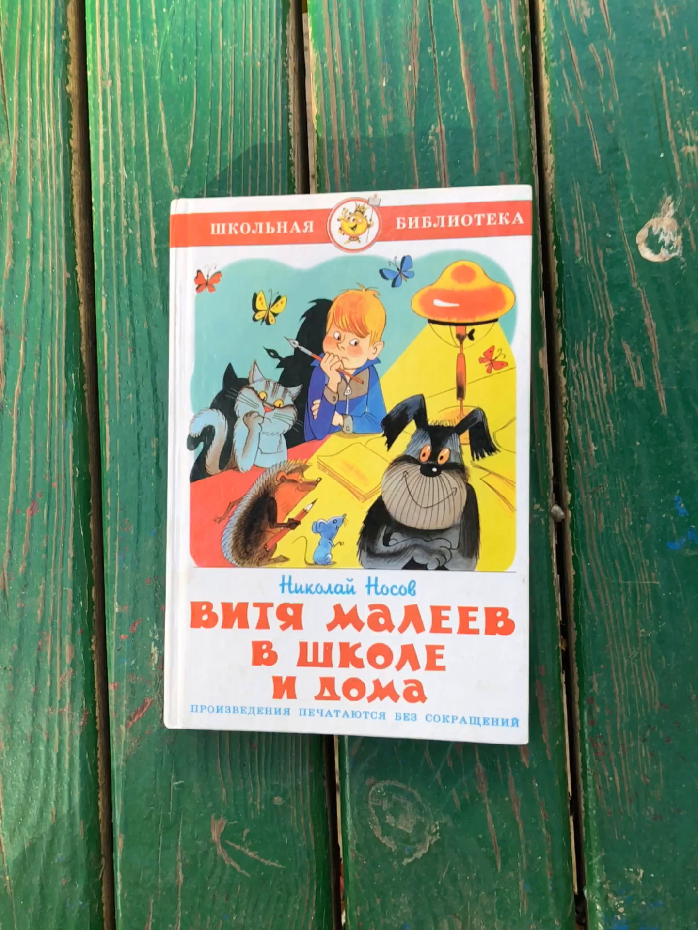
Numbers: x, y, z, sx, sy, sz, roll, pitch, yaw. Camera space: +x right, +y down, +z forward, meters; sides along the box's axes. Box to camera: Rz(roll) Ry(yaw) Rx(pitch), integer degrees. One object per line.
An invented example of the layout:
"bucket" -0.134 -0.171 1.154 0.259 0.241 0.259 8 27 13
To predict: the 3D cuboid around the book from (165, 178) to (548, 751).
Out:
"book" 0.002 -0.001 0.305 0.145 0.020 0.212 0 88 7
